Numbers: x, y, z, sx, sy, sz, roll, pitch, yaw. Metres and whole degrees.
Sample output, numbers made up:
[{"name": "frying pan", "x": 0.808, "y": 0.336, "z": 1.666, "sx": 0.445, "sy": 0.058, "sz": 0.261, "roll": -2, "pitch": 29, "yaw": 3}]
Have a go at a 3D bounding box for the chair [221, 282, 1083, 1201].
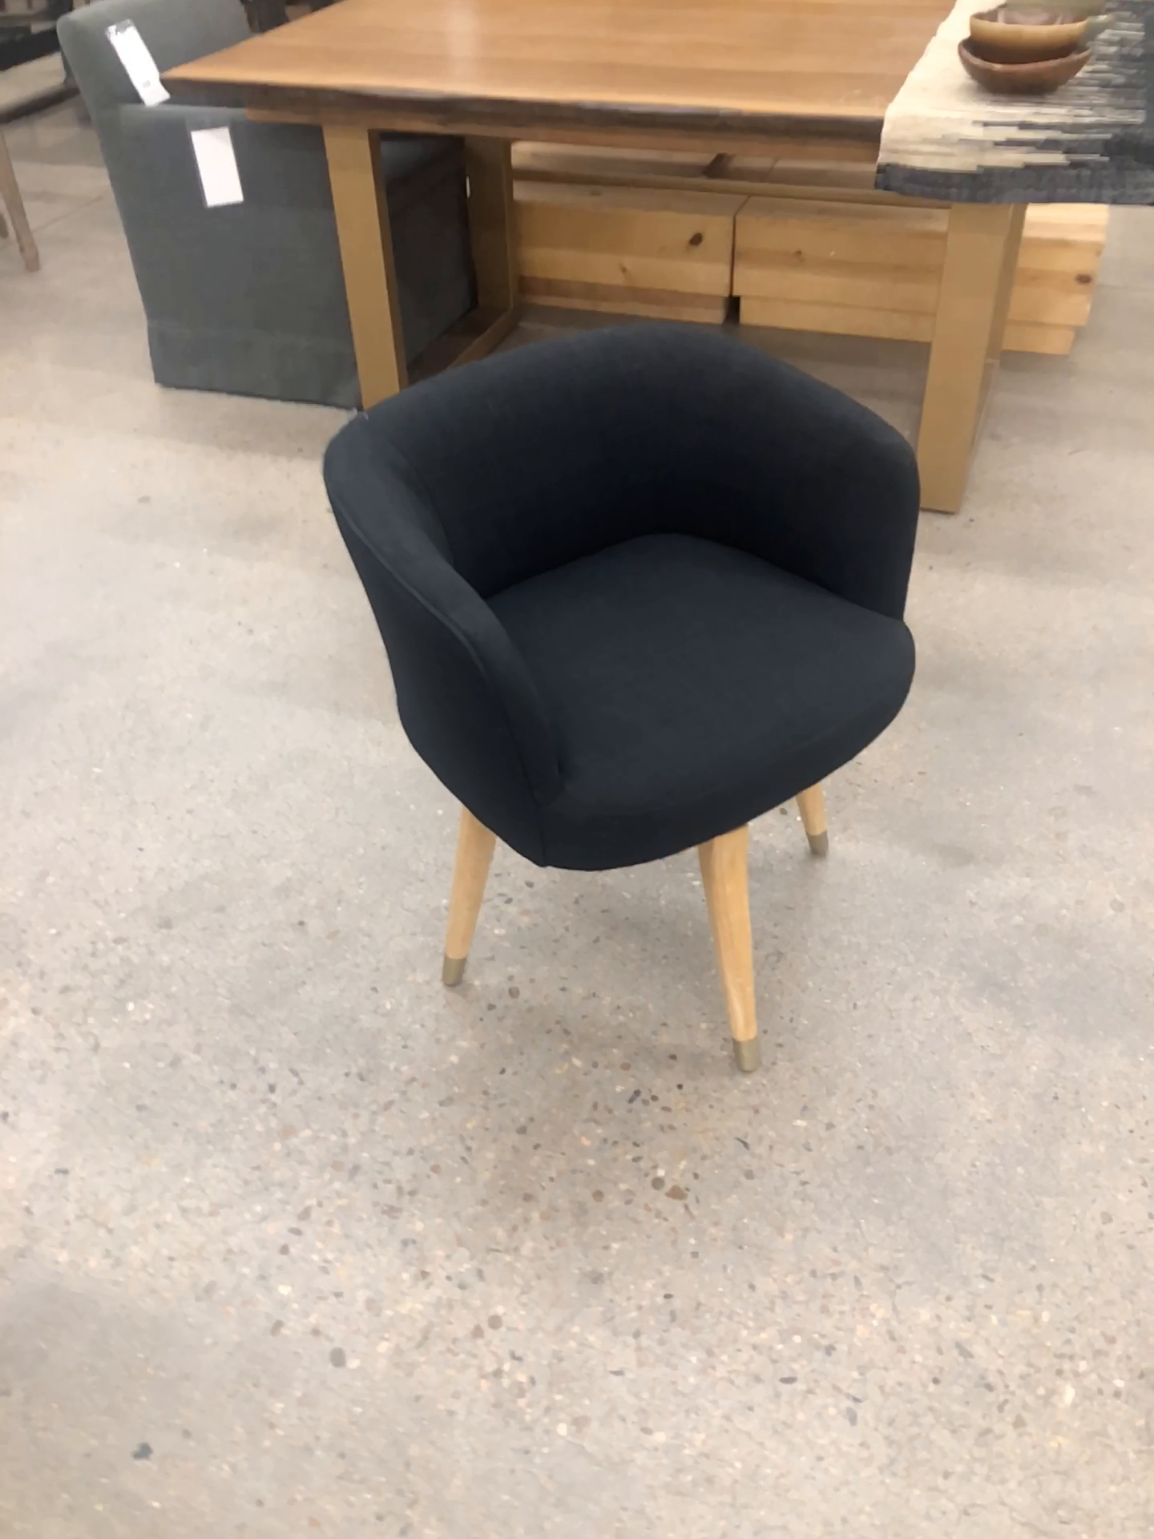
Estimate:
[{"name": "chair", "x": 0.056, "y": -0.070, "z": 1.441, "sx": 0.603, "sy": 0.670, "sz": 0.605, "roll": -23, "pitch": 44, "yaw": -23}]
